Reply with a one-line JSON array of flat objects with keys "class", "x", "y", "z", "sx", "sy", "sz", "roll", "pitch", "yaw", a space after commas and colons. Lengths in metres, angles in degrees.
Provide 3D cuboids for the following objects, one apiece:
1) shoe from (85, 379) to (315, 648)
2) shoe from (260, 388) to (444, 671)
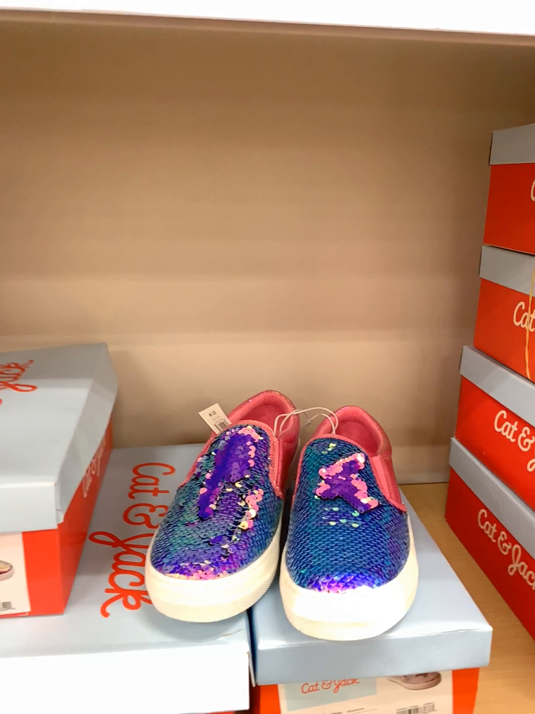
[{"class": "shoe", "x": -0.030, "y": 0.090, "z": 0.402, "sx": 0.100, "sy": 0.074, "sz": 0.211, "roll": 4, "pitch": 19, "yaw": 11}, {"class": "shoe", "x": 0.050, "y": 0.096, "z": 0.384, "sx": 0.090, "sy": 0.074, "sz": 0.211, "roll": 1, "pitch": 18, "yaw": 4}]
